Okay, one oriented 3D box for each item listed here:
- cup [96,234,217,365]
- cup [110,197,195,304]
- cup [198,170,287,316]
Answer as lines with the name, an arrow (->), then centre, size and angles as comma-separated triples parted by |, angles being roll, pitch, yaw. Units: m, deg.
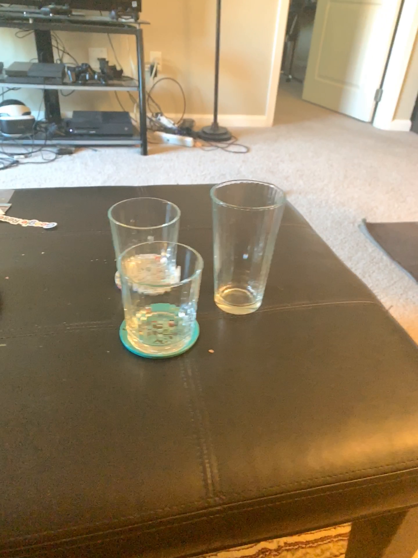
cup -> -0.052, 0.019, 0.466 | 0.100, 0.089, 0.091 | 10, 34, 9
cup -> -0.075, -0.040, 0.595 | 0.090, 0.109, 0.080 | 10, 34, 9
cup -> 0.040, -0.045, 0.523 | 0.080, 0.139, 0.091 | 10, 34, 9
